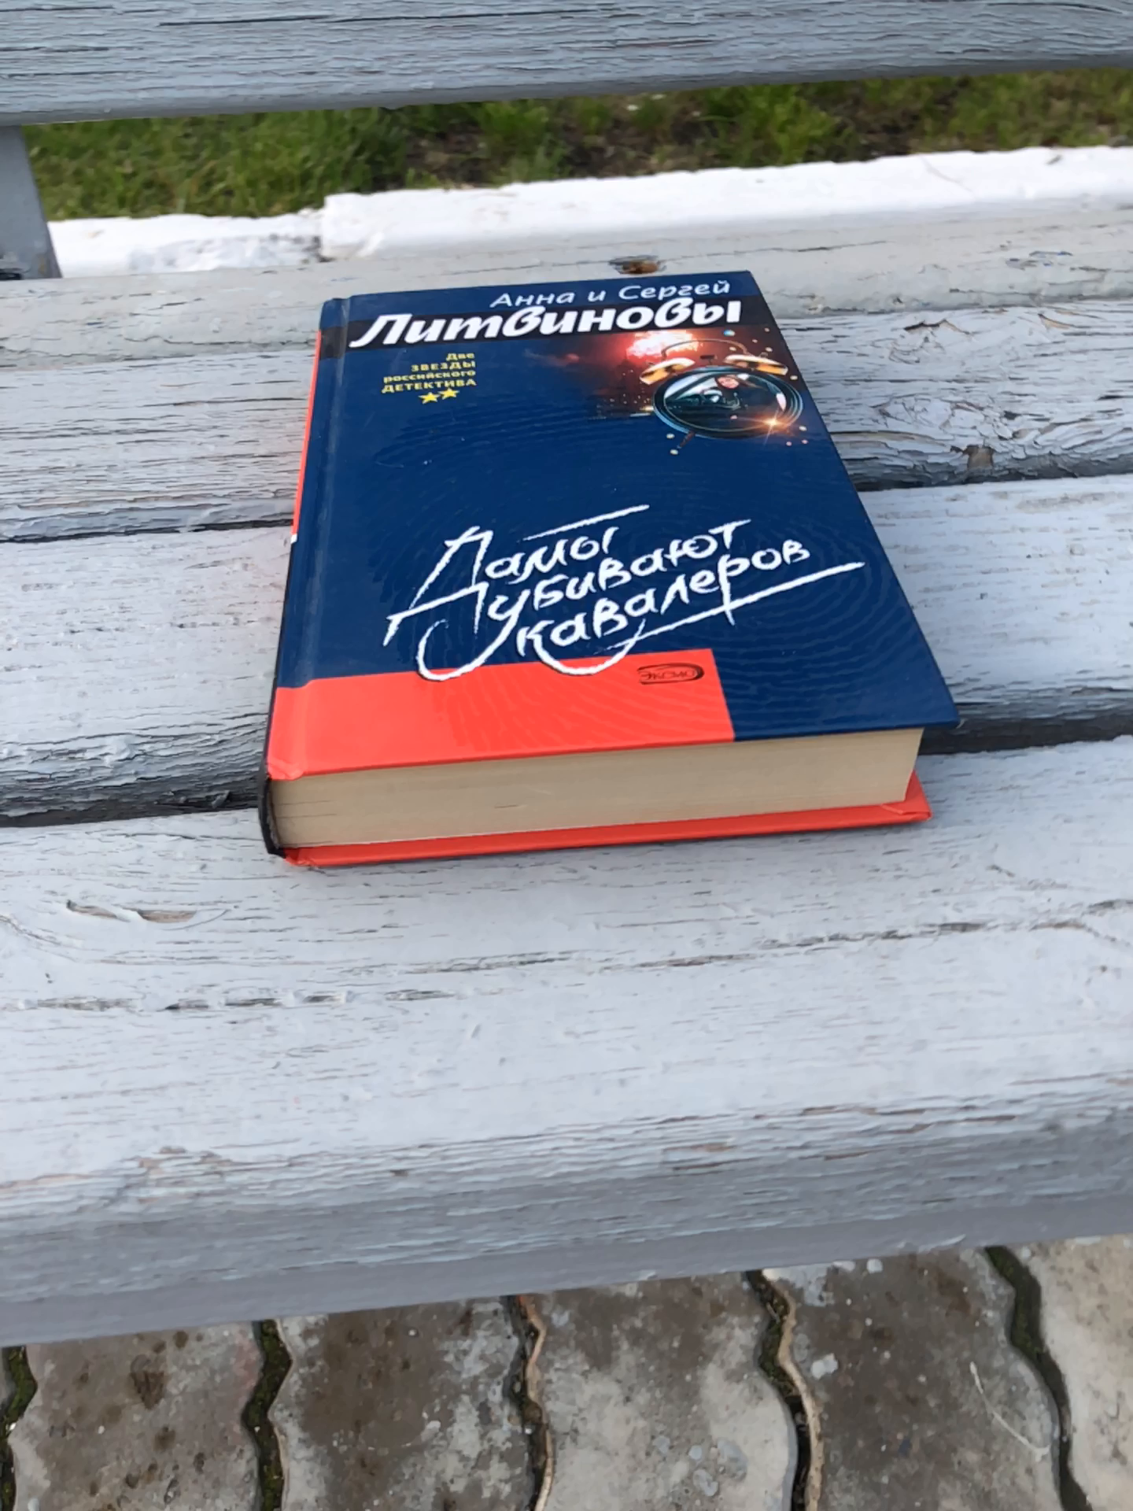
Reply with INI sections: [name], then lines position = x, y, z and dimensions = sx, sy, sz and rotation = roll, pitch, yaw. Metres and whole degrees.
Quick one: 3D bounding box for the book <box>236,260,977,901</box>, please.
[book]
position = -0.002, -0.060, 0.305
dimensions = 0.130, 0.030, 0.209
rotation = -4, 44, -3
